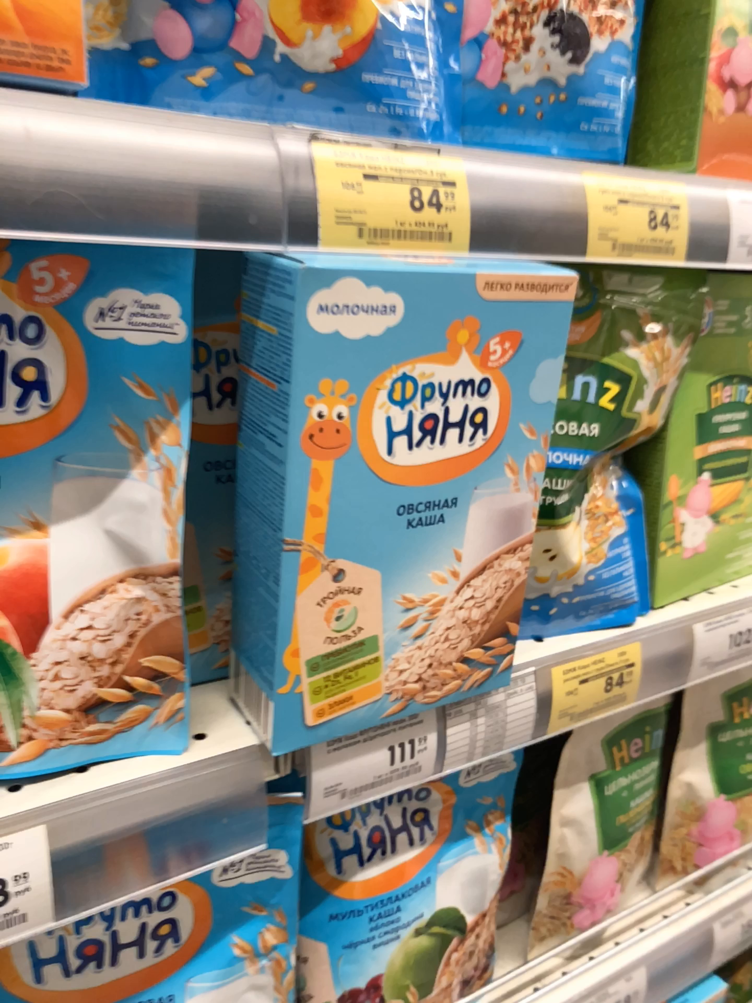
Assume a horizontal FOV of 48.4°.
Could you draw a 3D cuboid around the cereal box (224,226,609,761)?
[{"bbox_3d":[0.013,-0.007,0.356,0.140,0.199,0.050,-8,24,-32],"label":"cereal box"}]
